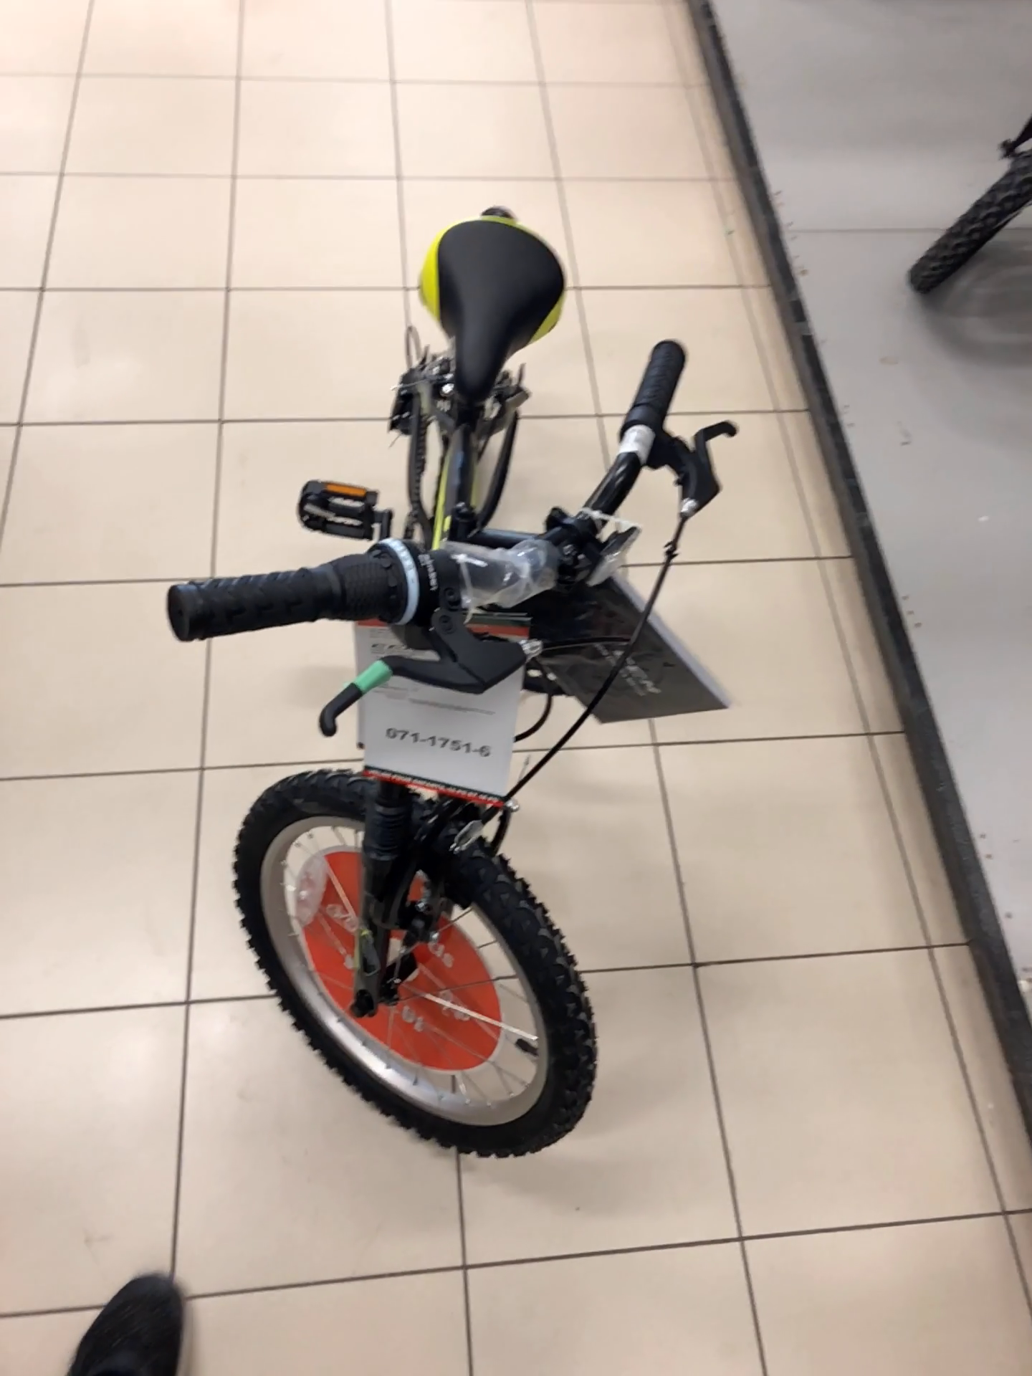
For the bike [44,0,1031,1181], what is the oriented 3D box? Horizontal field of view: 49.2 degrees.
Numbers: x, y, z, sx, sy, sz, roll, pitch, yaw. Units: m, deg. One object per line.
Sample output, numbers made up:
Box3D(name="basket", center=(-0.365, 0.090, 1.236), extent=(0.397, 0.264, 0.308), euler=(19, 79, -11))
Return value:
Box3D(name="bike", center=(0.000, -0.197, 1.177), extent=(0.549, 0.862, 1.198), euler=(-1, 59, -6))
